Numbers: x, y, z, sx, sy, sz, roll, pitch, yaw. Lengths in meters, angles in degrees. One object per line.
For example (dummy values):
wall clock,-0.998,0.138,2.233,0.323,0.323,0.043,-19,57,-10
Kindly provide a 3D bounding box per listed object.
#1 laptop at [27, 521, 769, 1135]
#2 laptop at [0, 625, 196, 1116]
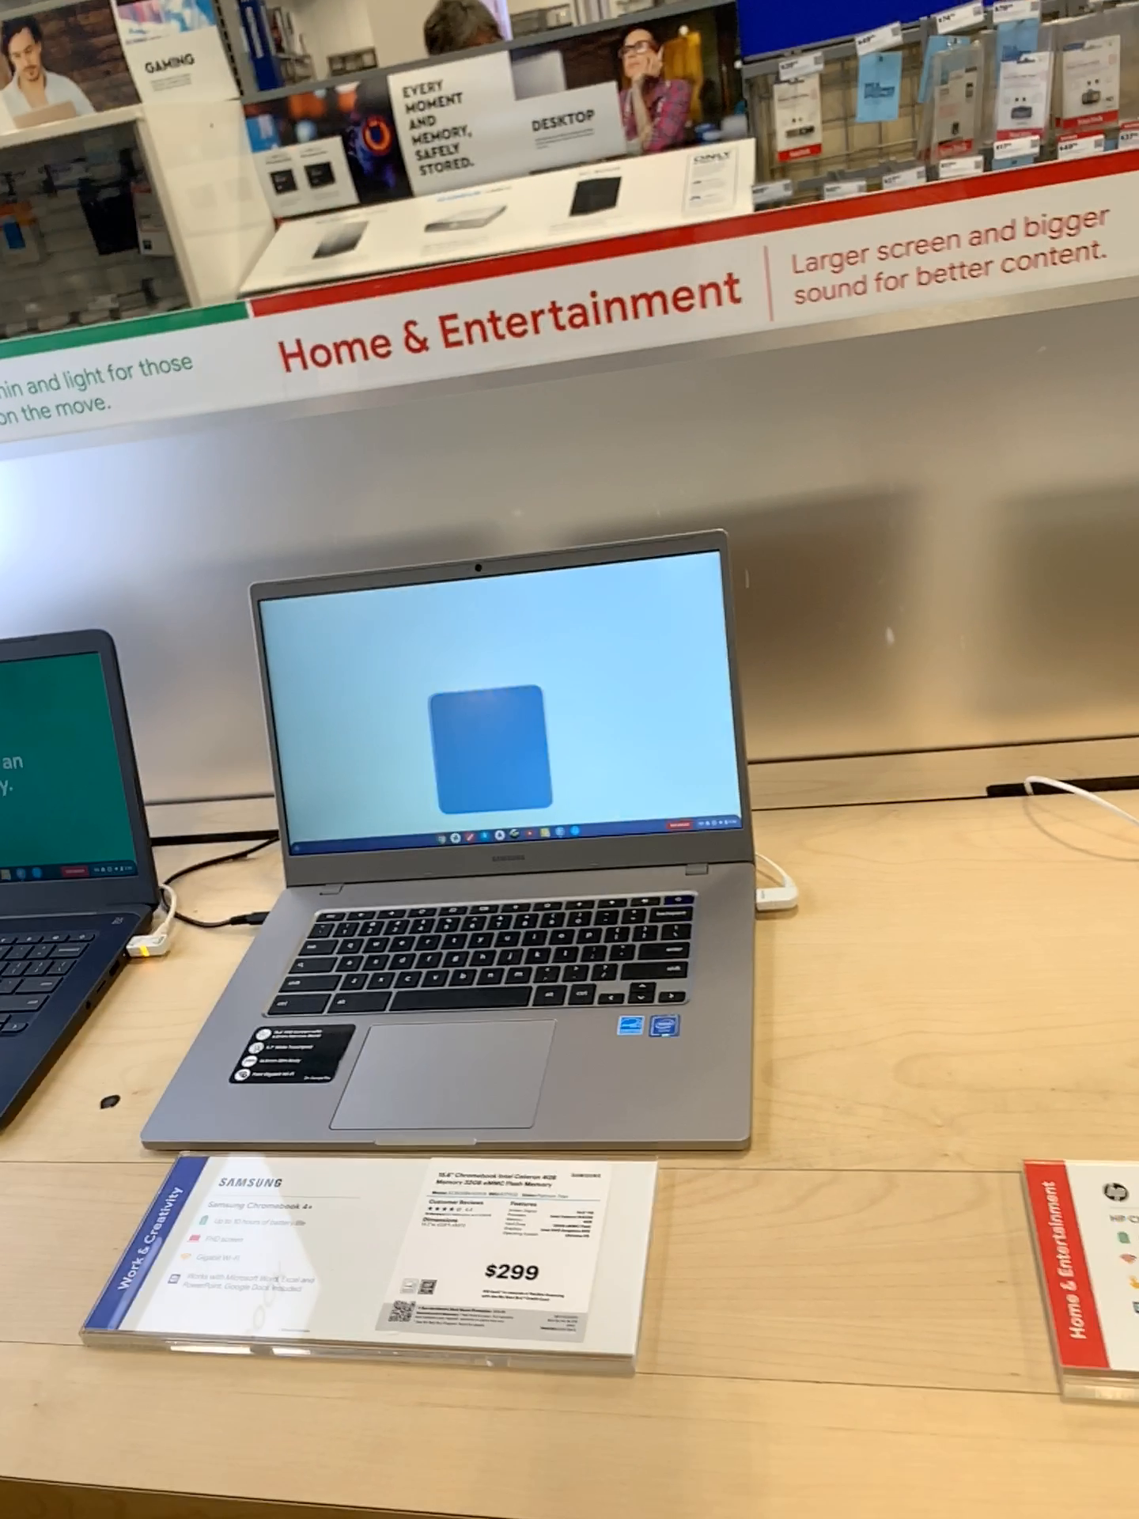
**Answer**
laptop,-0.061,0.029,0.723,0.340,0.200,0.326,-5,30,13
laptop,-0.477,0.066,0.803,0.301,0.191,0.288,-5,28,12
